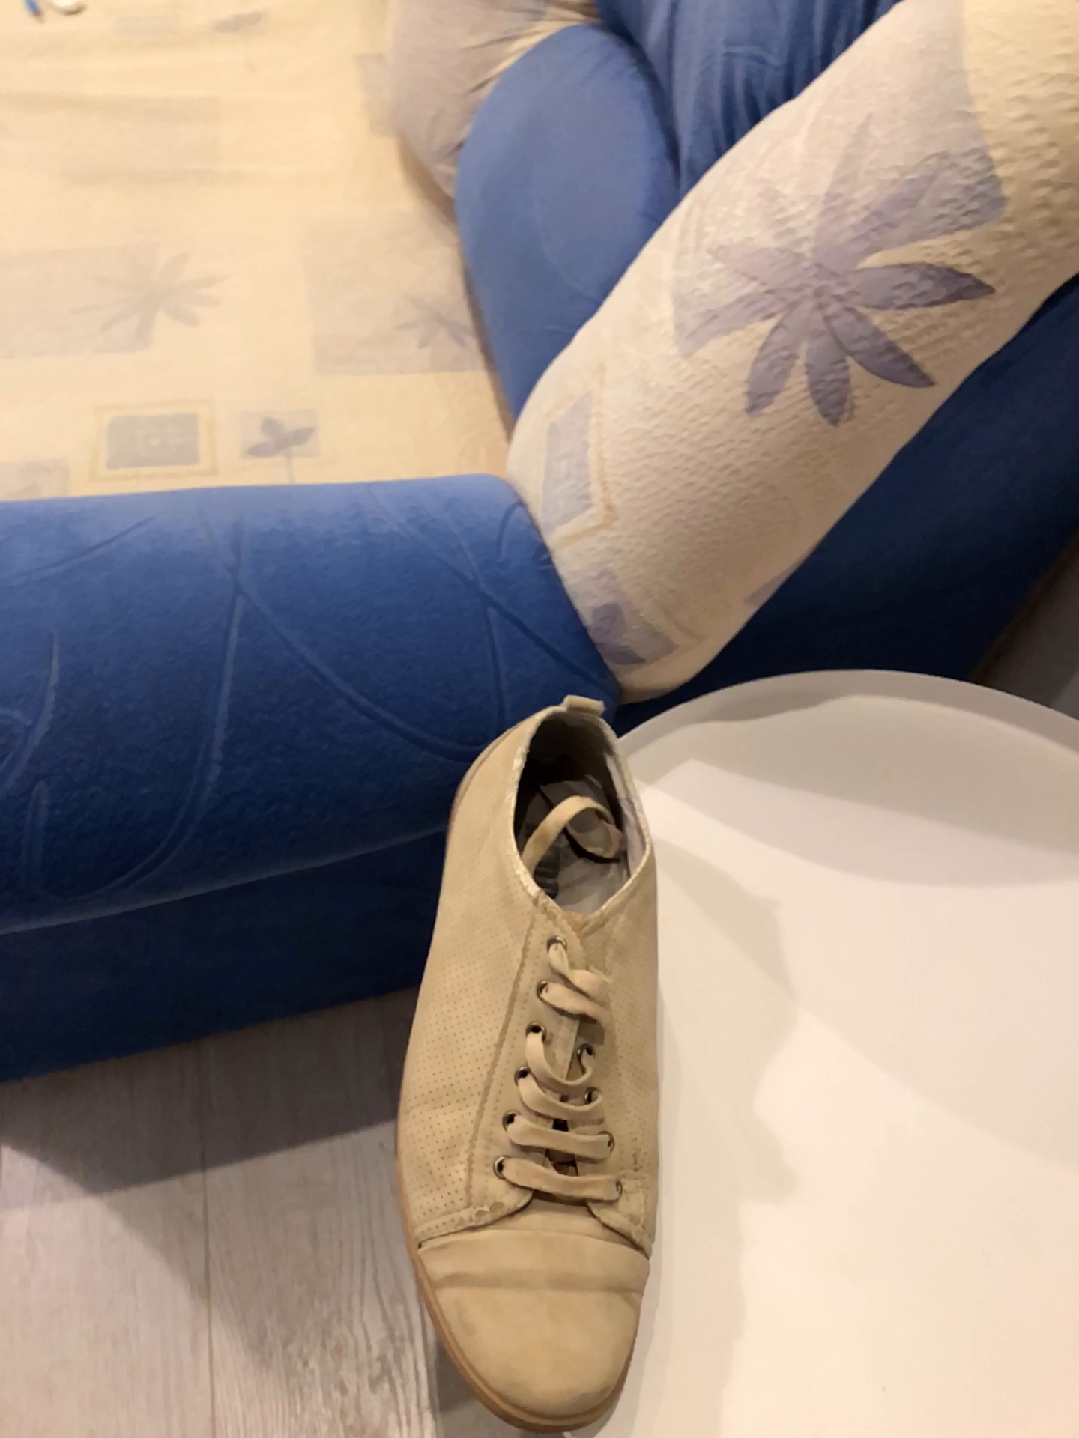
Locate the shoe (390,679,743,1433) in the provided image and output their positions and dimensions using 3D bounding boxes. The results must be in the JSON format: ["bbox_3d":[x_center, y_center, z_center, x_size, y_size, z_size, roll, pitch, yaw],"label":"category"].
[{"bbox_3d":[0.004,0.122,0.481,0.110,0.070,0.282,4,56,-7],"label":"shoe"}]
